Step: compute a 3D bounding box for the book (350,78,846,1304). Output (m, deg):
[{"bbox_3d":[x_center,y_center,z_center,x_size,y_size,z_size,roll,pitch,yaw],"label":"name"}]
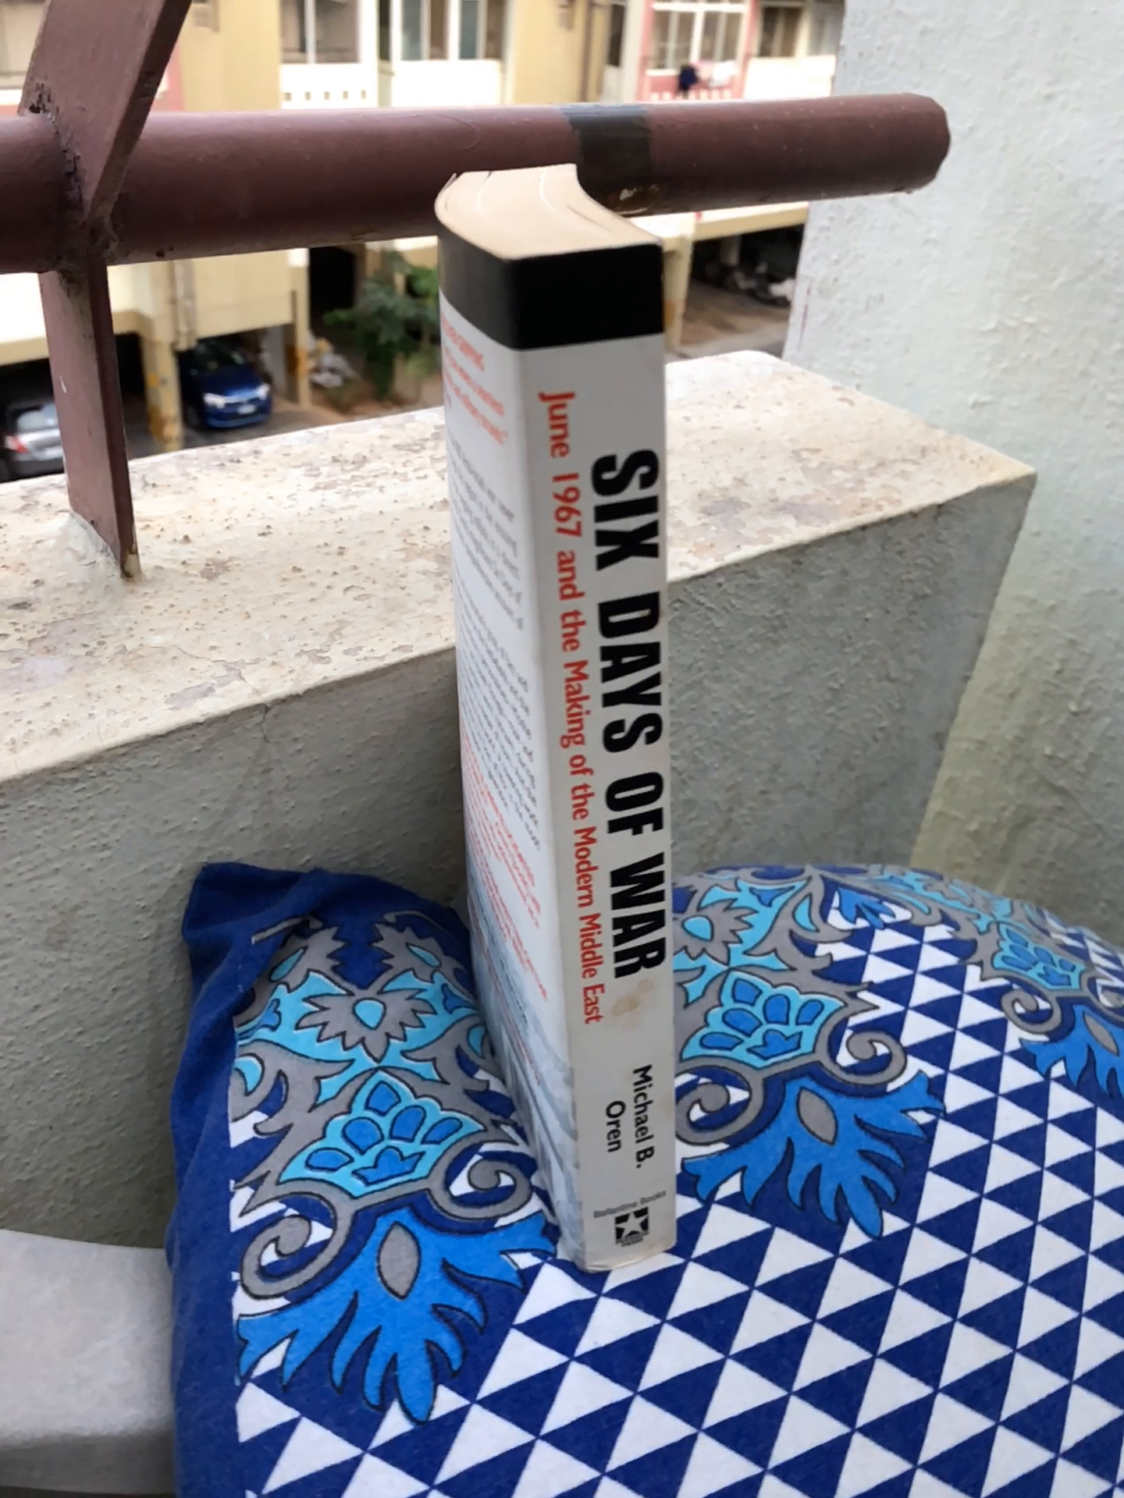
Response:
[{"bbox_3d":[-0.006,-0.019,0.317,0.050,0.249,0.181,-8,35,-12],"label":"book"}]
